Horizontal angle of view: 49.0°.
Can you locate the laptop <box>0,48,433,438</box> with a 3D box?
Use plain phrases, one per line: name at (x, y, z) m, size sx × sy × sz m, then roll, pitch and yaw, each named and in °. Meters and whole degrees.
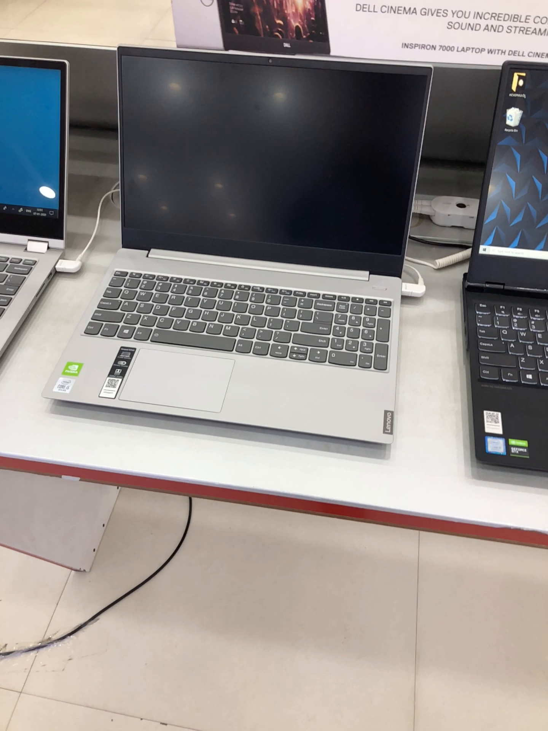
laptop at (-0.031, -0.143, 0.614) m, size 0.341 × 0.196 × 0.346 m, roll 7°, pitch 49°, yaw 6°
